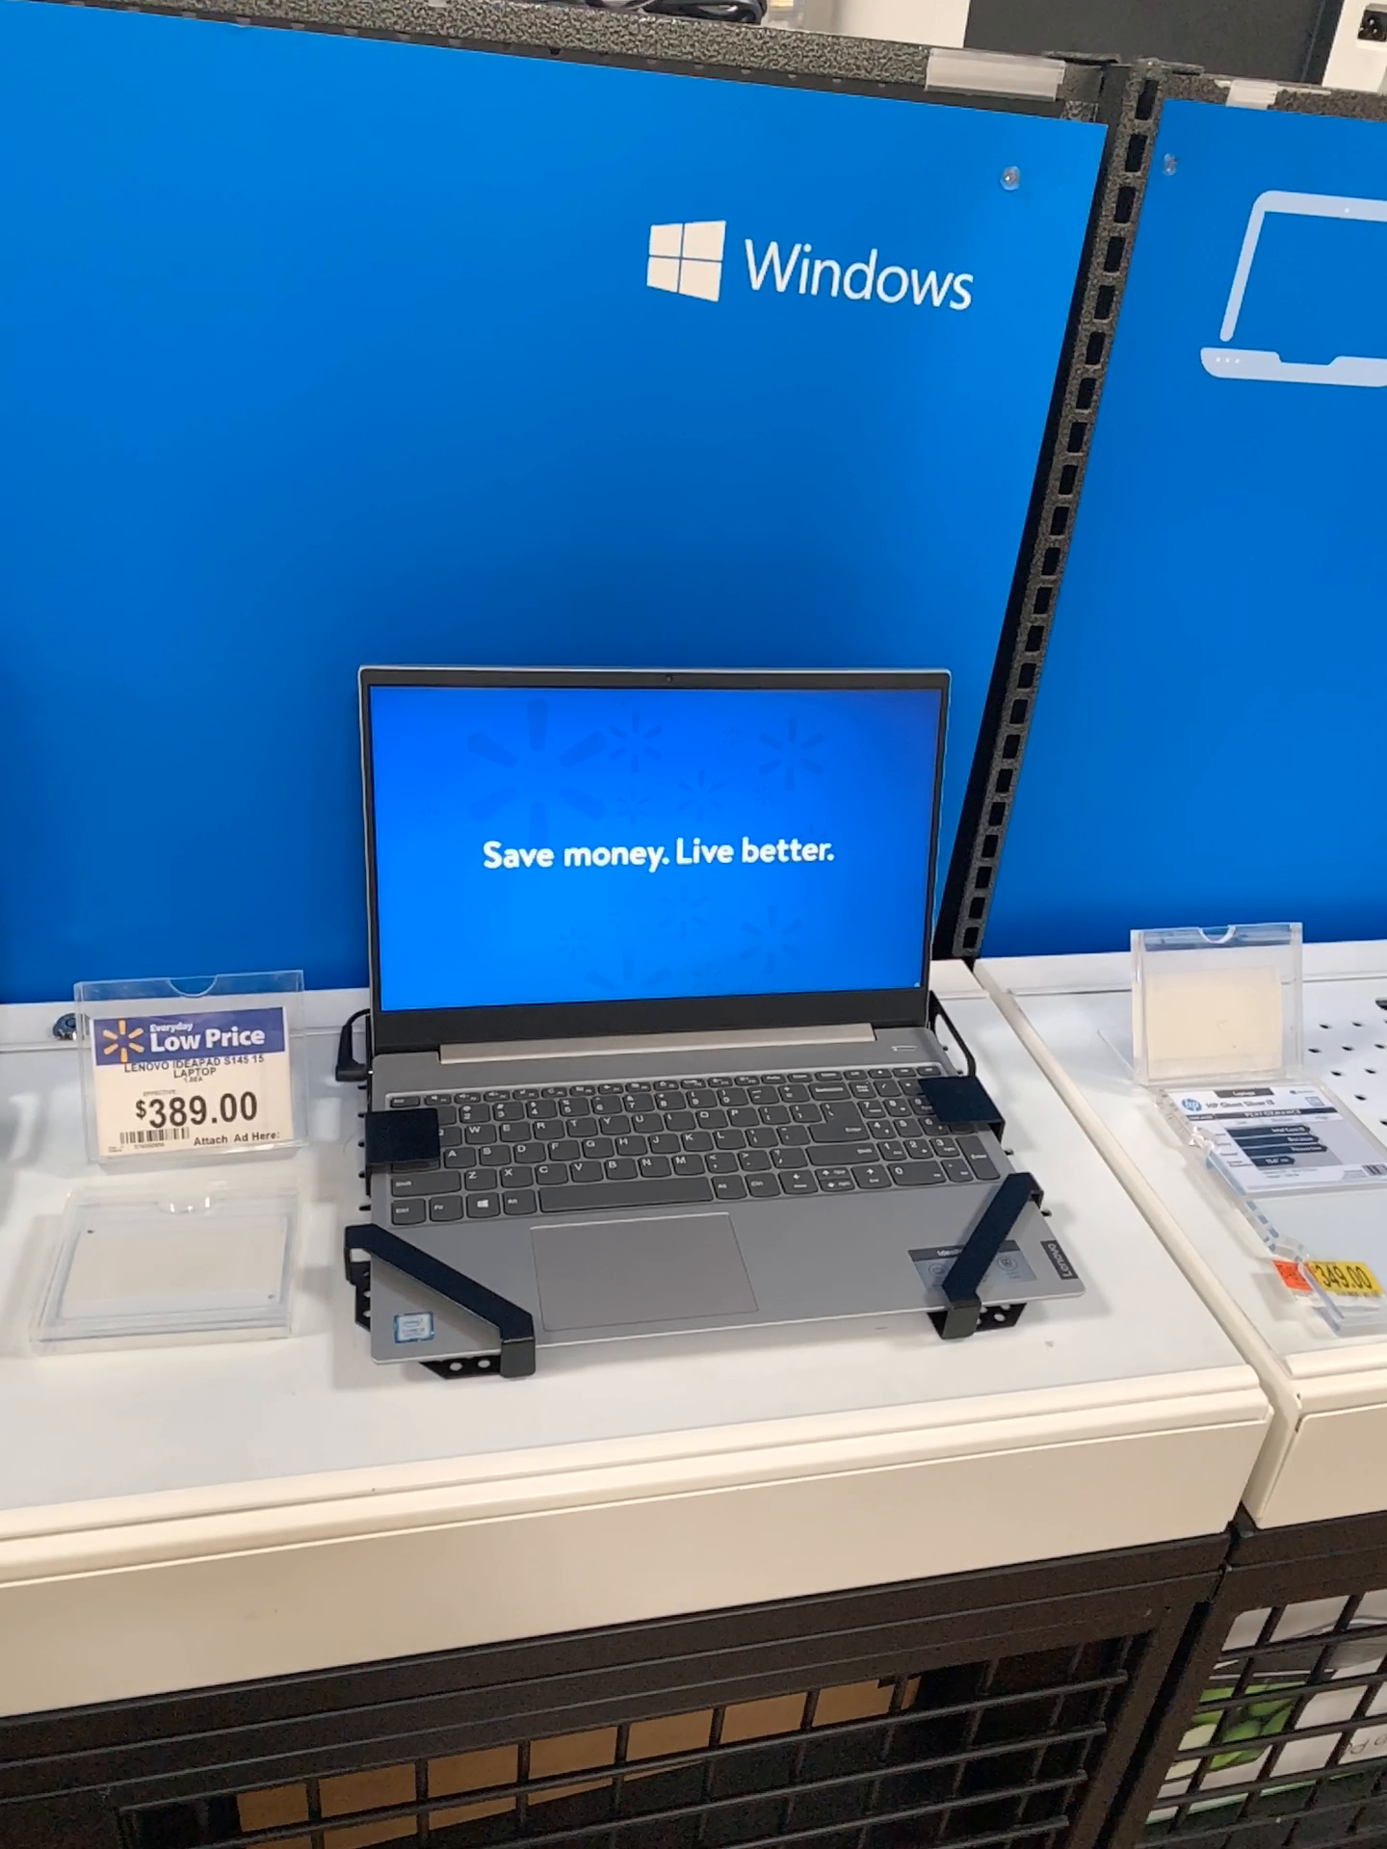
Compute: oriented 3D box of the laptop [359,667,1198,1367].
[{"bbox_3d":[0.009,0.022,0.750,0.350,0.217,0.299,-2,31,-12],"label":"laptop"}]
